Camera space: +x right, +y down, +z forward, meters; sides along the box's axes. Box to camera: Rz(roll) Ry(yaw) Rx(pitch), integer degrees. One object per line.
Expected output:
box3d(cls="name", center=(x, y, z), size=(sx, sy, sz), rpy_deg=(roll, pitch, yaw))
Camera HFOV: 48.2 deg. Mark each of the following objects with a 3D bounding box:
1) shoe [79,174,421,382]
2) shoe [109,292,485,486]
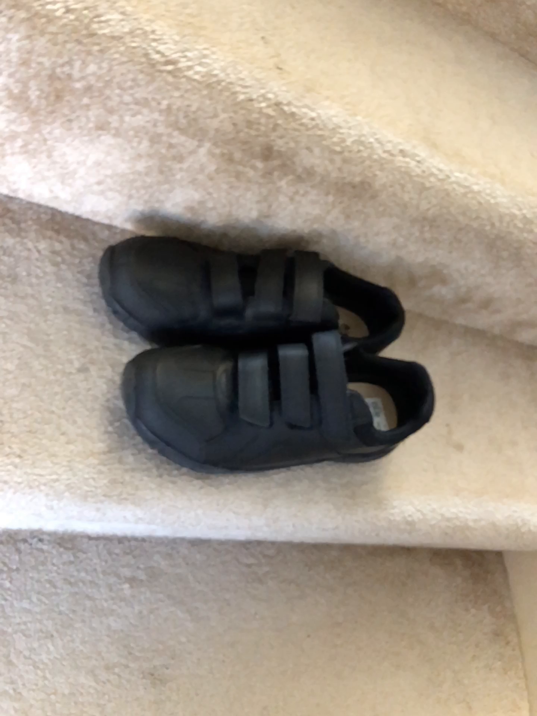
box3d(cls="shoe", center=(-0.013, -0.054, 0.519), size=(0.271, 0.099, 0.100), rpy_deg=(6, 63, -30))
box3d(cls="shoe", center=(0.026, 0.036, 0.469), size=(0.271, 0.099, 0.100), rpy_deg=(6, 63, -30))
